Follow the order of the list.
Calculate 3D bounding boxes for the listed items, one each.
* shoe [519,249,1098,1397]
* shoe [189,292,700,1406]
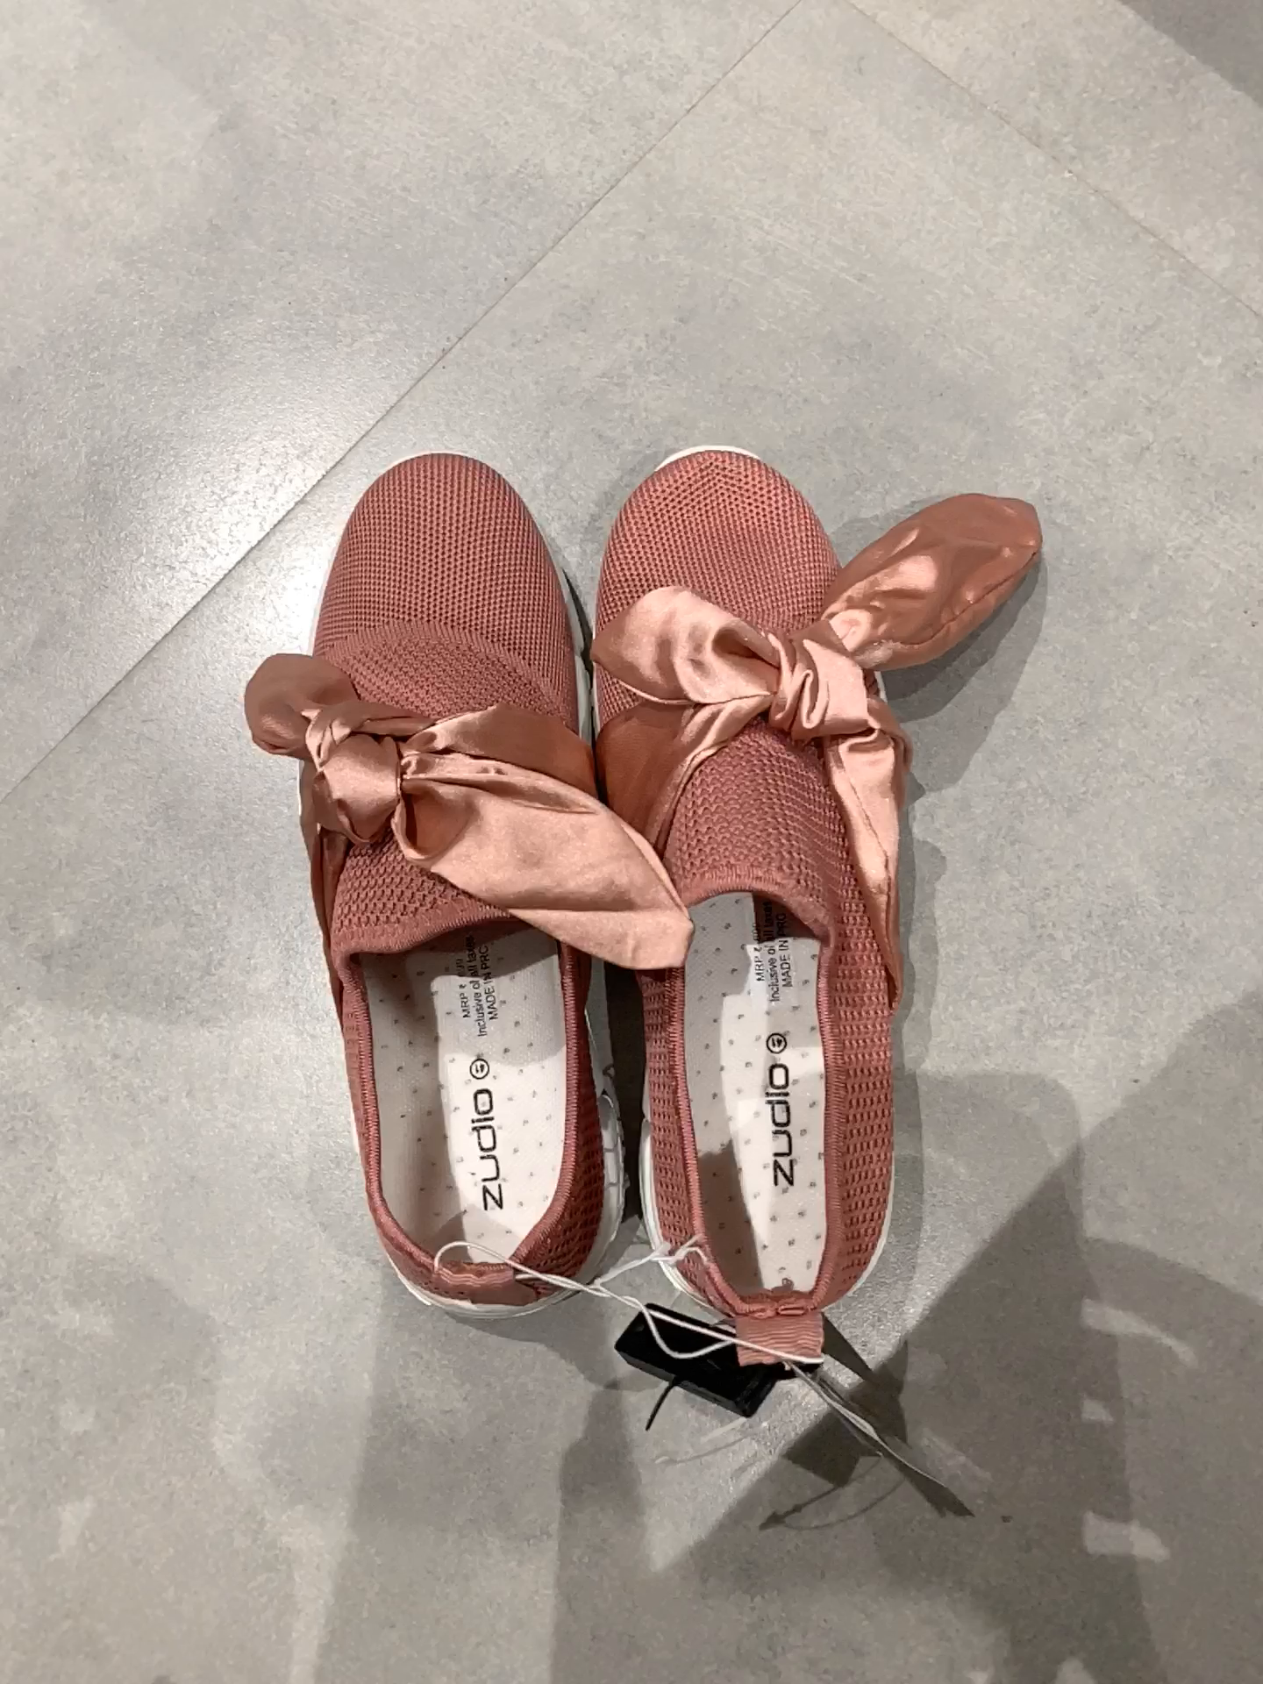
[{"bbox_3d":[0.039,-0.006,0.360,0.110,0.100,0.270,-5,81,1],"label":"shoe"},{"bbox_3d":[-0.049,0.001,0.370,0.110,0.100,0.270,-5,81,1],"label":"shoe"}]
